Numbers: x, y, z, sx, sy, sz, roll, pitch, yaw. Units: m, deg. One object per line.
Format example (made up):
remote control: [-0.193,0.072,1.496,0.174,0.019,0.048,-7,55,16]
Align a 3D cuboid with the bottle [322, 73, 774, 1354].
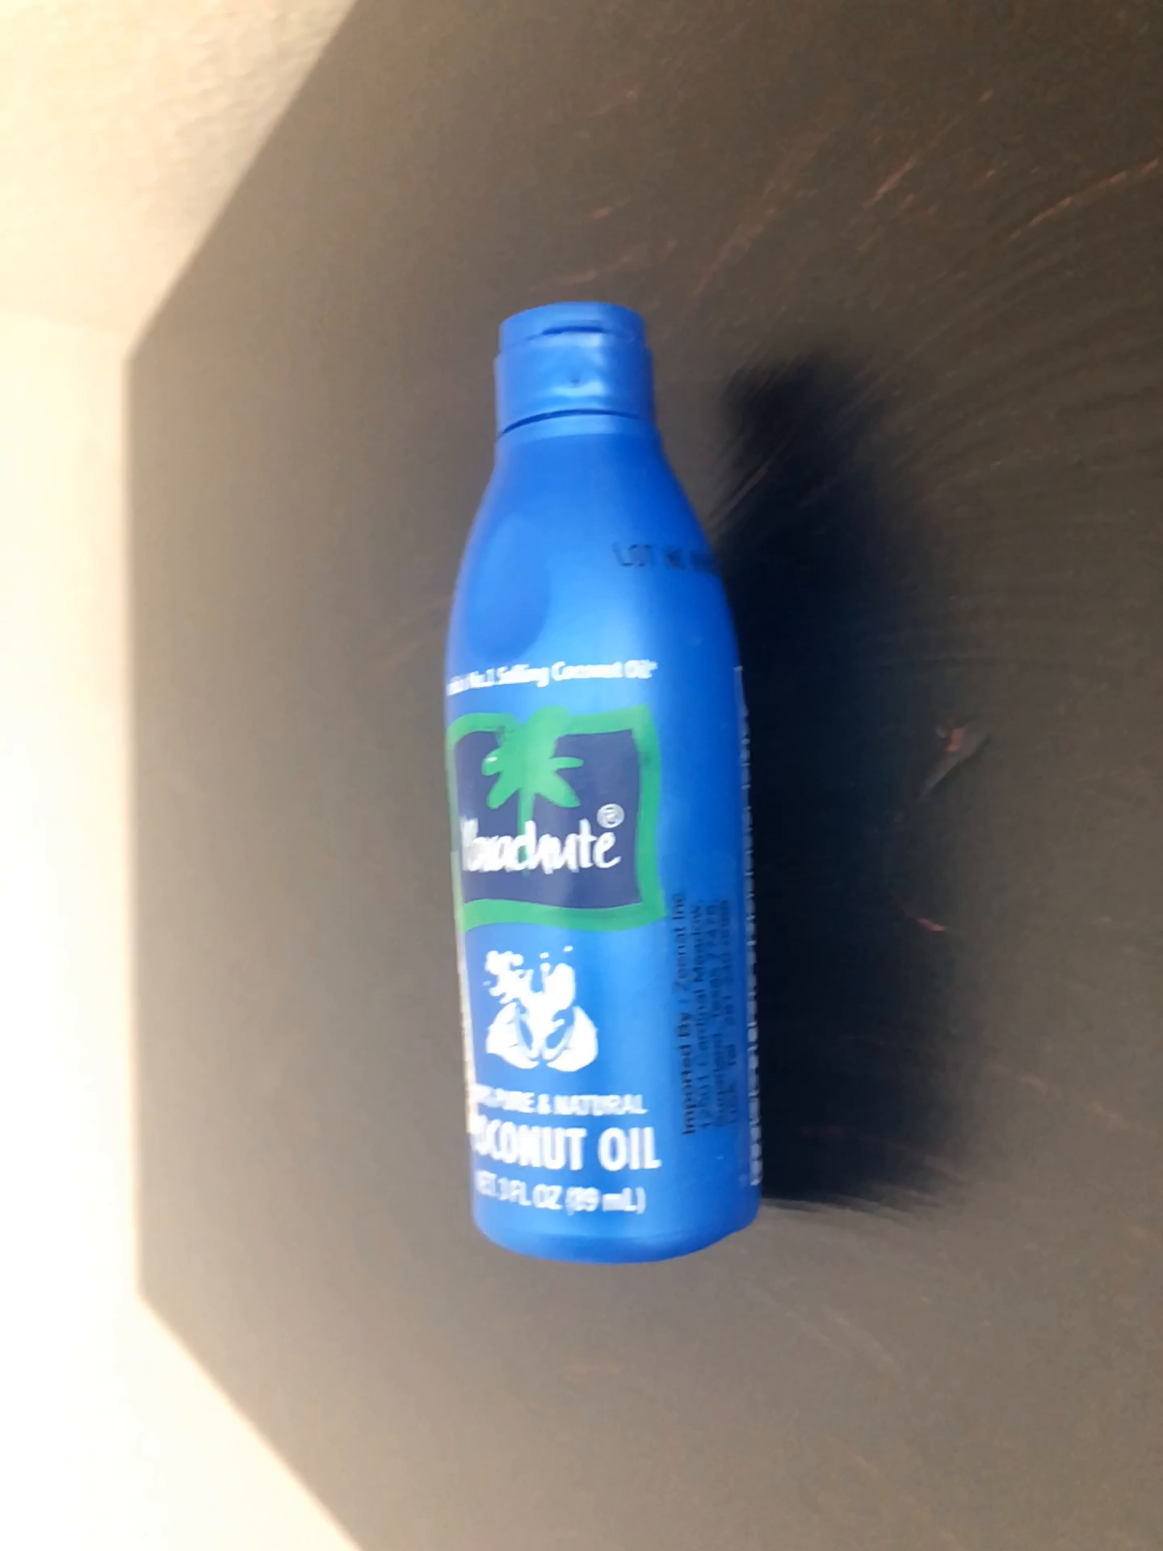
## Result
bottle: [-0.004,-0.007,0.170,0.040,0.040,0.140,-3,87,30]
